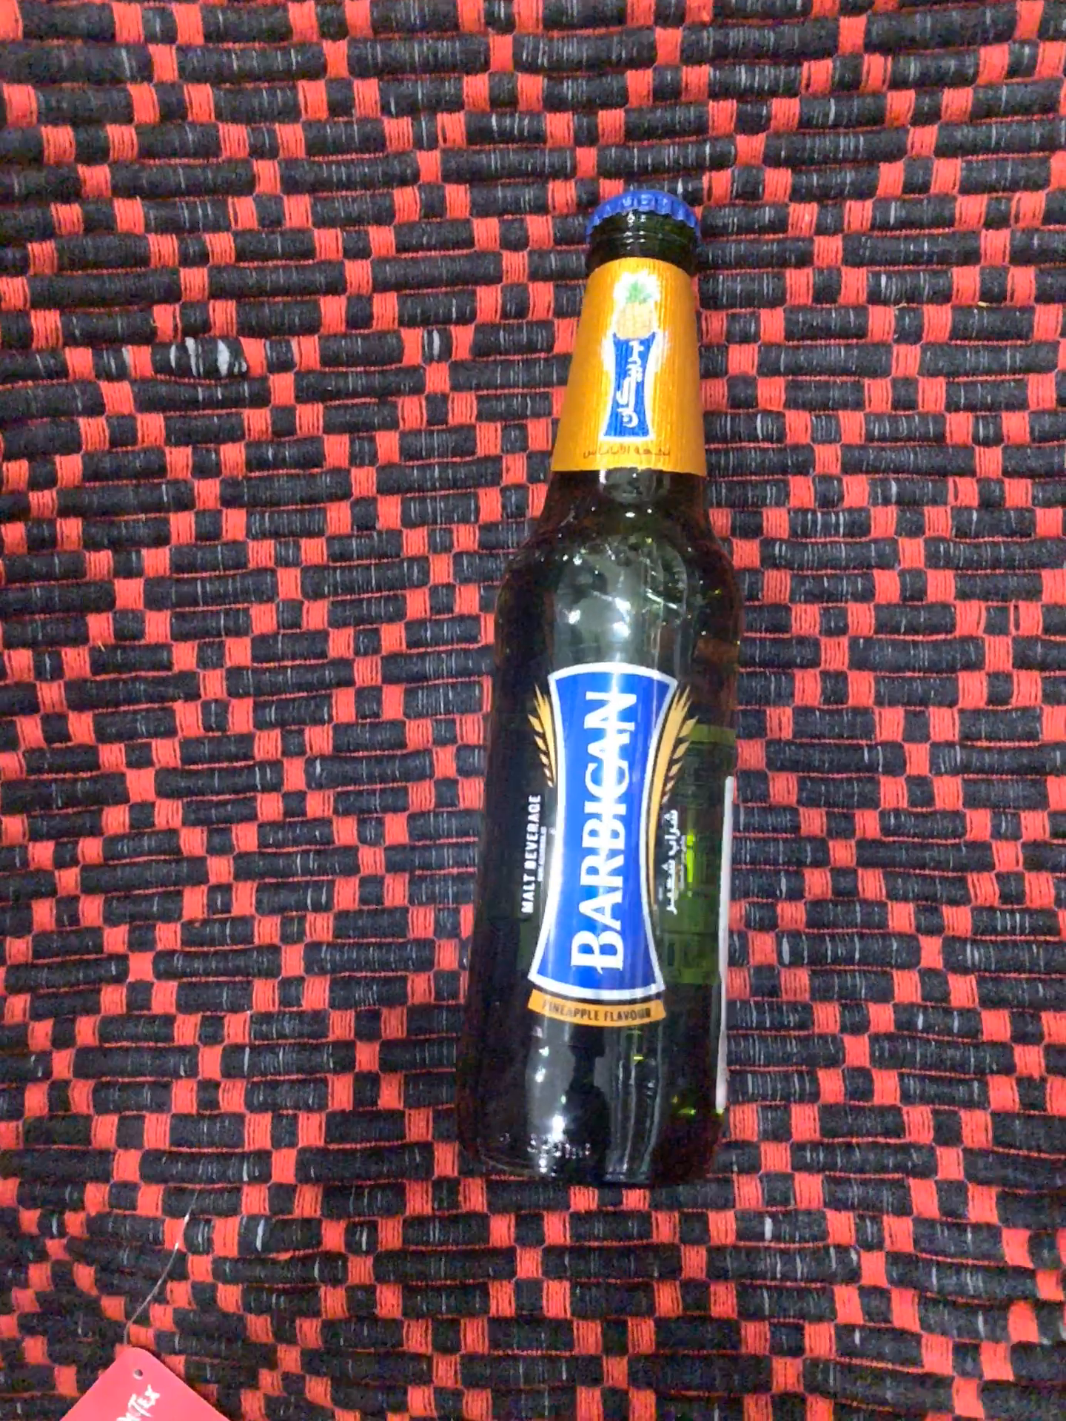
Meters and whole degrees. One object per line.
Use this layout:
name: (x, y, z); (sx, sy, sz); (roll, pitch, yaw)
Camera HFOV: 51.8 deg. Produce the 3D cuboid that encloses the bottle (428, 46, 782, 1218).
bottle: (0.021, -0.024, 0.261); (0.060, 0.070, 0.250); (3, 77, 5)
